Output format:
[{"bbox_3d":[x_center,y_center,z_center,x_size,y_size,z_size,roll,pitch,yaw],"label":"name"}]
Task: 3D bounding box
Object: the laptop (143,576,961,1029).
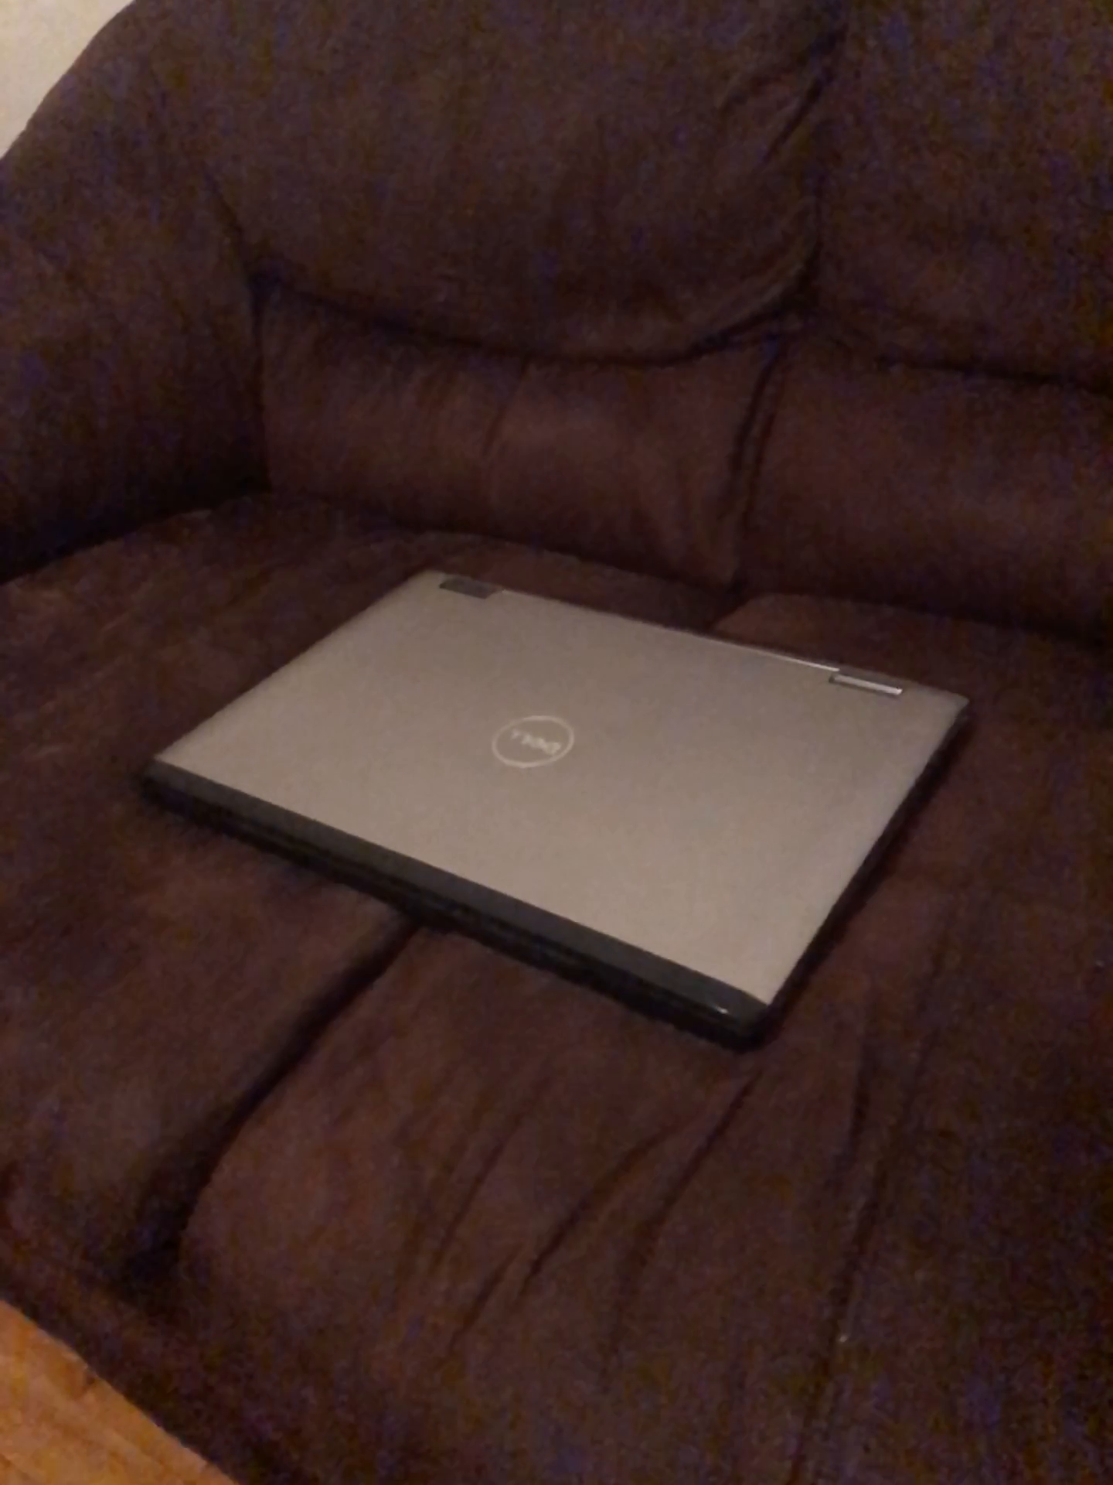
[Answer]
[{"bbox_3d":[-0.003,0.000,0.670,0.370,0.002,0.261,17,41,29],"label":"laptop"}]
